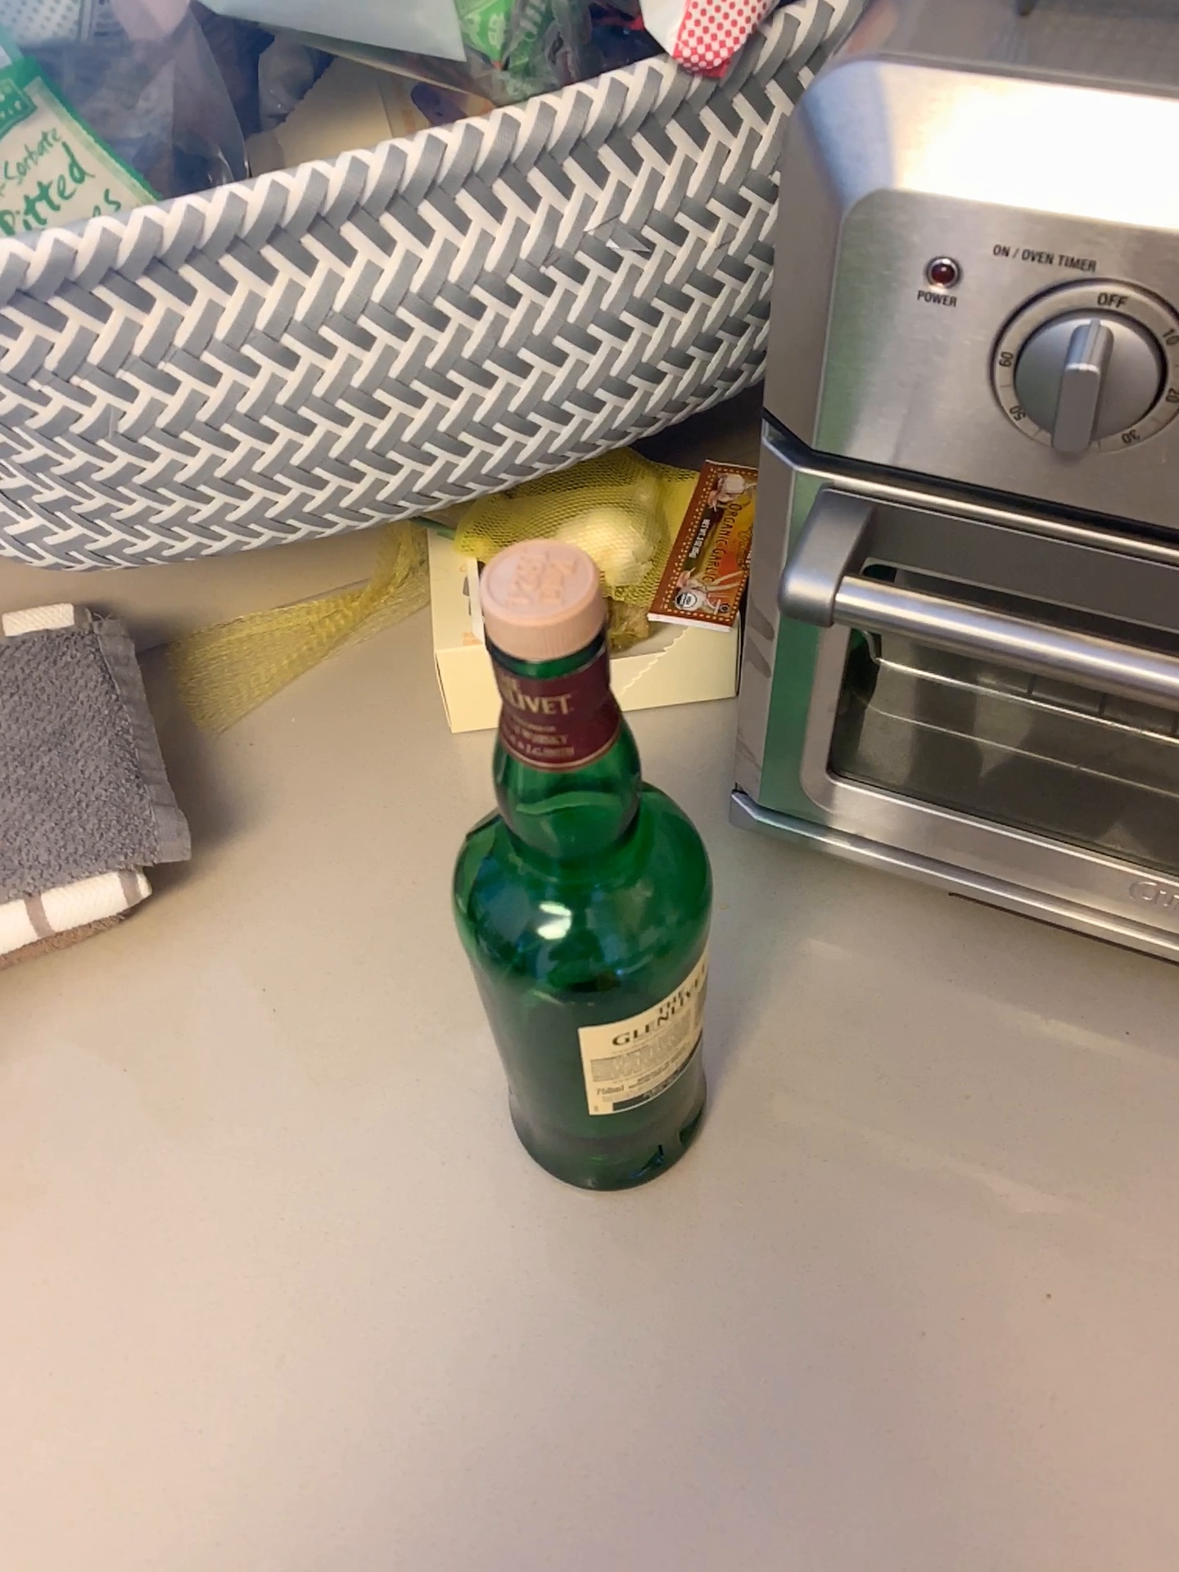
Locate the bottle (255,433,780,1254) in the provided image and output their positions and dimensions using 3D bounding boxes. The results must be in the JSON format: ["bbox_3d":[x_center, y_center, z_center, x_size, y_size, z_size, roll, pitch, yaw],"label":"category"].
[{"bbox_3d":[-0.007,0.043,0.370,0.080,0.279,0.080,-2,53,3],"label":"bottle"}]
